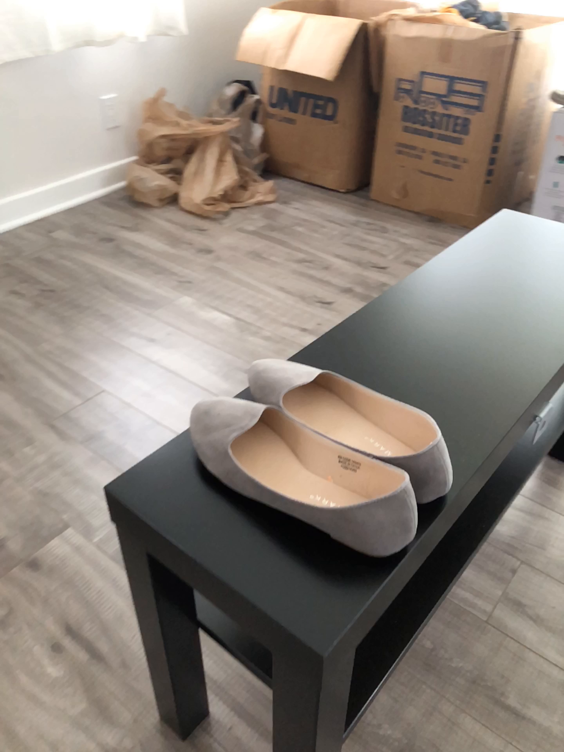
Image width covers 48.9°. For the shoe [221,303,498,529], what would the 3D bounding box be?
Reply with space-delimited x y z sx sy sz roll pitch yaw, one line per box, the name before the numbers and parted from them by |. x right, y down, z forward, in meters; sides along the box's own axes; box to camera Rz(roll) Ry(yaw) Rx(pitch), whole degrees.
shoe | 0.066 0.027 0.621 0.254 0.090 0.100 28 45 33

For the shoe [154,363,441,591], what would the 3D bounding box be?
shoe | 0.007 0.080 0.580 0.251 0.060 0.100 25 43 30
